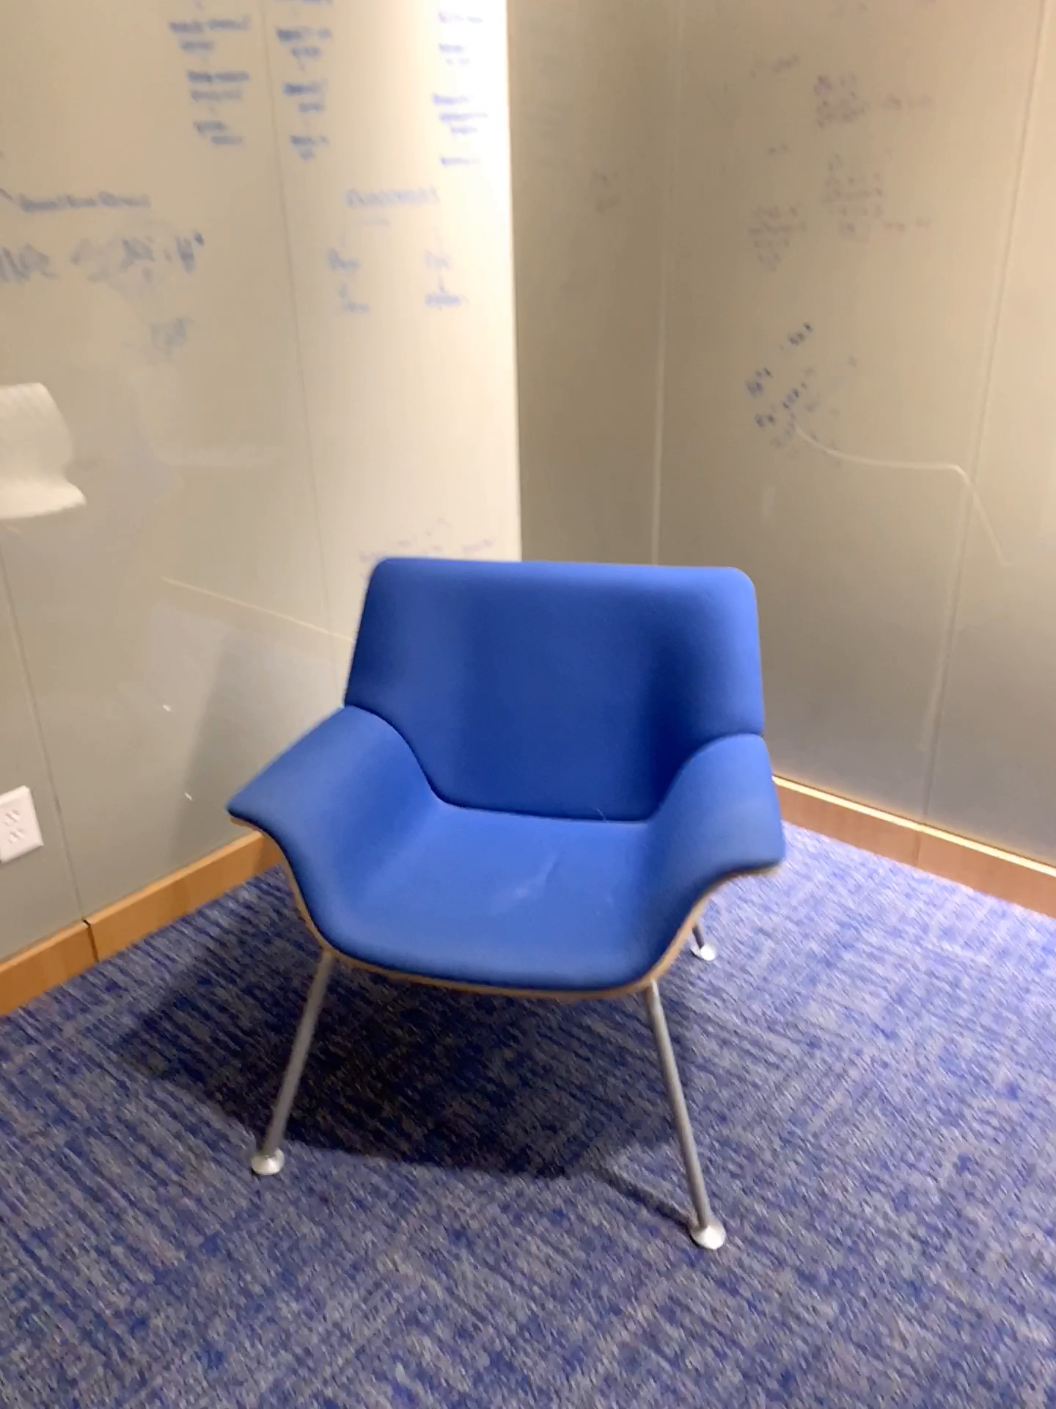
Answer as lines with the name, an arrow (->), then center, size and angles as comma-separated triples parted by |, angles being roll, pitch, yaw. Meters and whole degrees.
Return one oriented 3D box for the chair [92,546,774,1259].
chair -> -0.046, 0.220, 1.668 | 0.788, 0.713, 0.743 | 4, 25, 11
